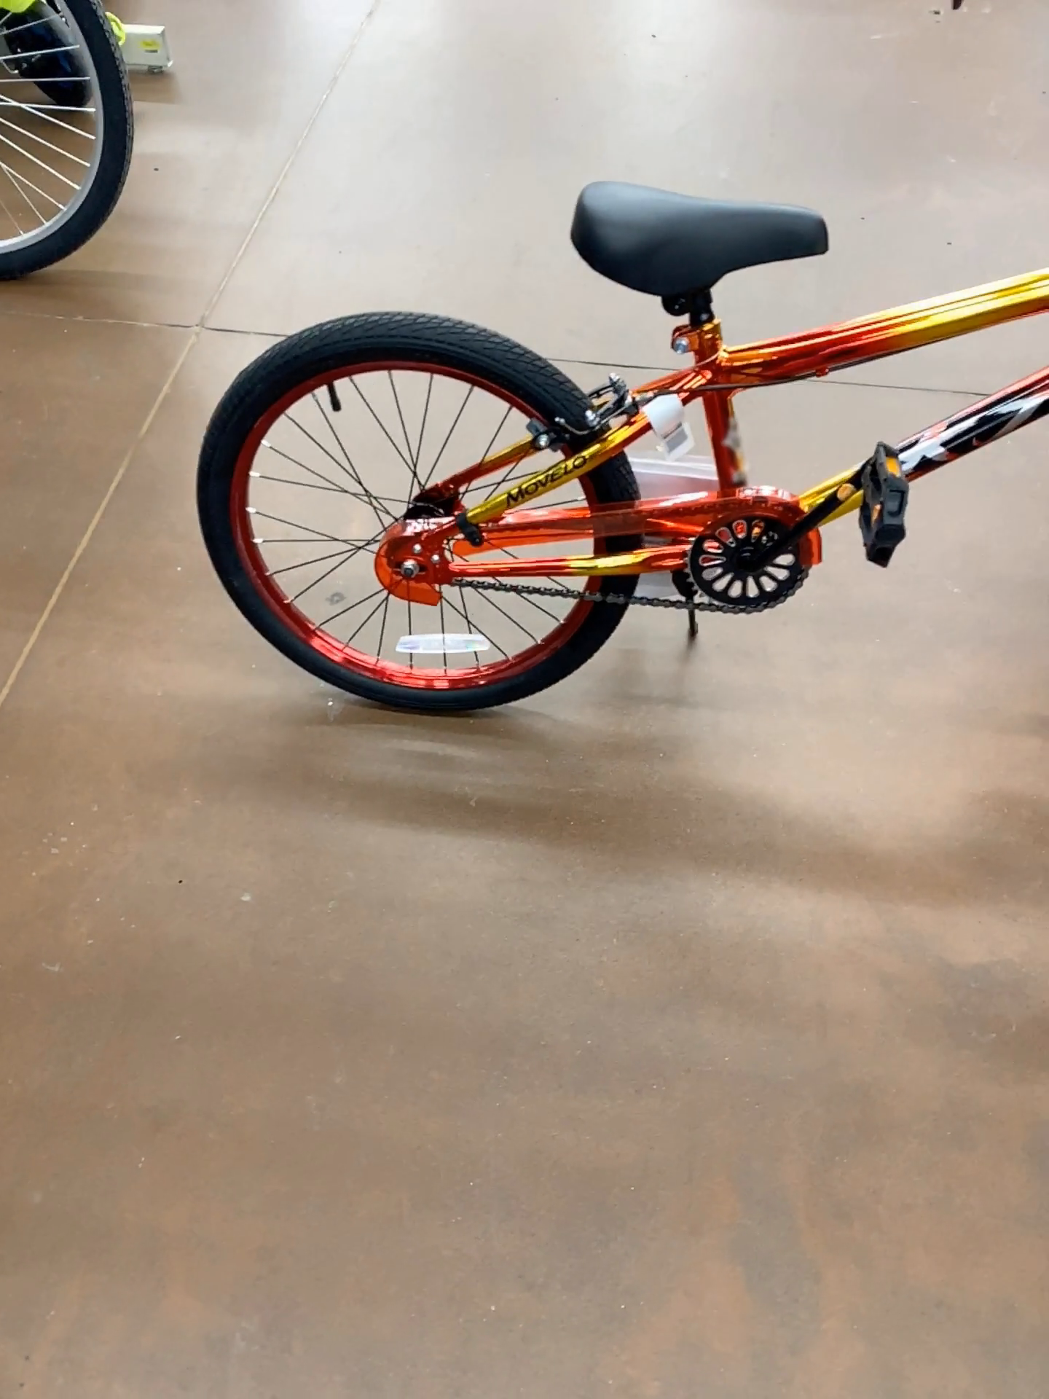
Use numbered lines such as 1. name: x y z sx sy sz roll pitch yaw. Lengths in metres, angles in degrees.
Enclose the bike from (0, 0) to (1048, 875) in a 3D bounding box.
1. bike: 0.231 -0.434 1.023 1.122 0.926 0.706 -3 51 -2
